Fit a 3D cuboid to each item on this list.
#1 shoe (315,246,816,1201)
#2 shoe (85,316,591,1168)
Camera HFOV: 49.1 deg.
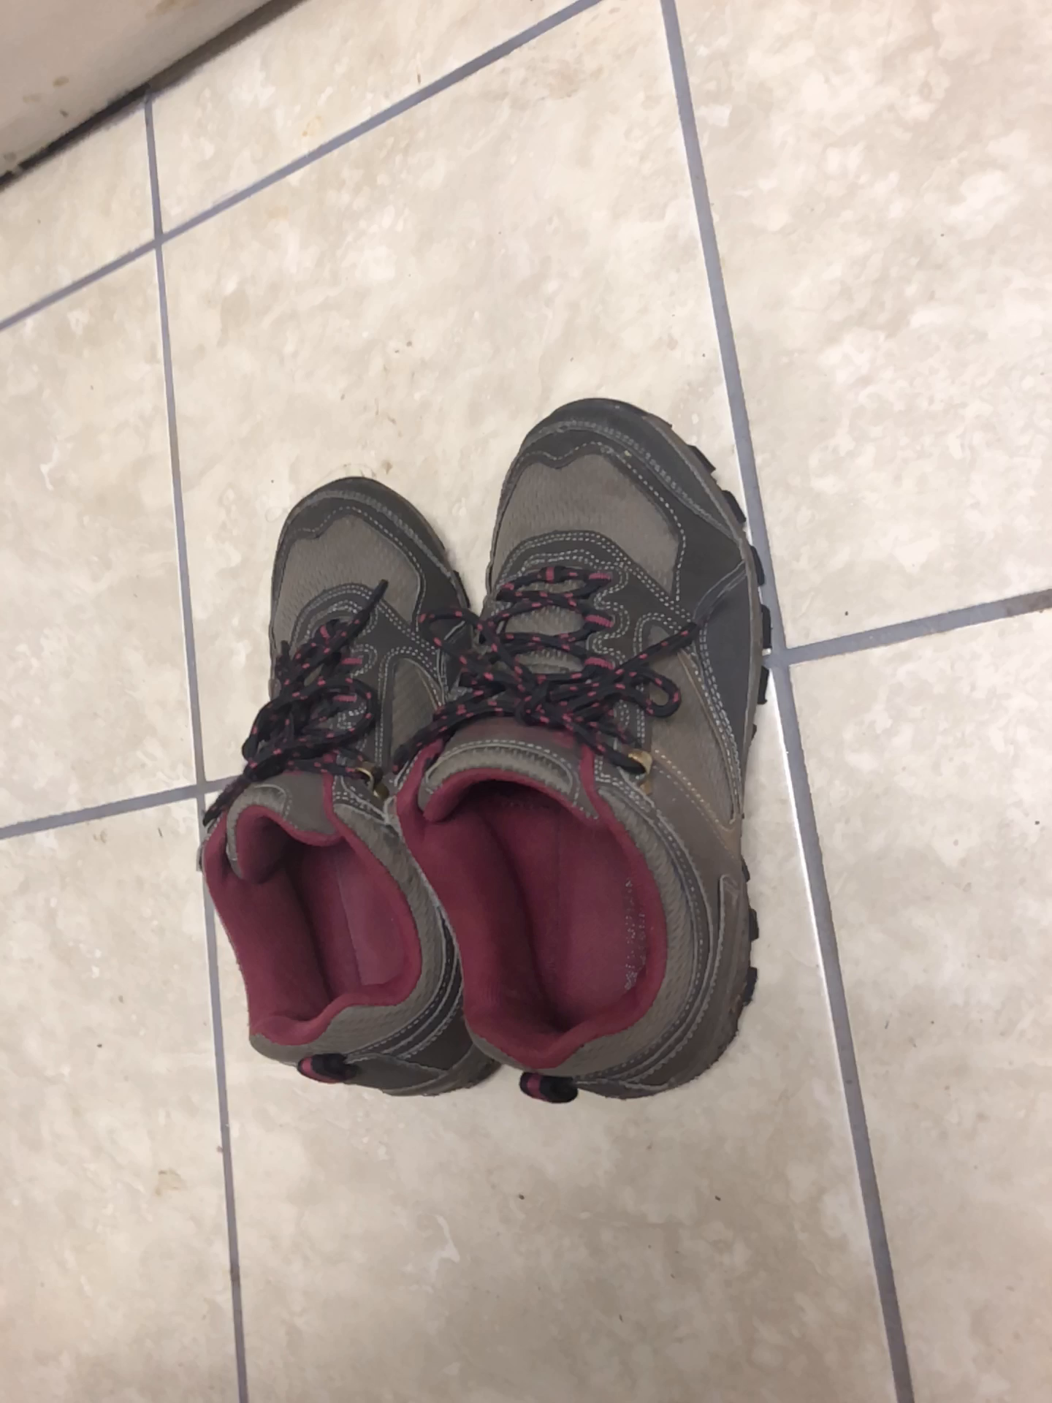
[{"bbox_3d":[0.014,0.010,0.390,0.111,0.119,0.260,-8,81,30],"label":"shoe"},{"bbox_3d":[-0.072,0.020,0.440,0.121,0.119,0.270,-12,78,29],"label":"shoe"}]
